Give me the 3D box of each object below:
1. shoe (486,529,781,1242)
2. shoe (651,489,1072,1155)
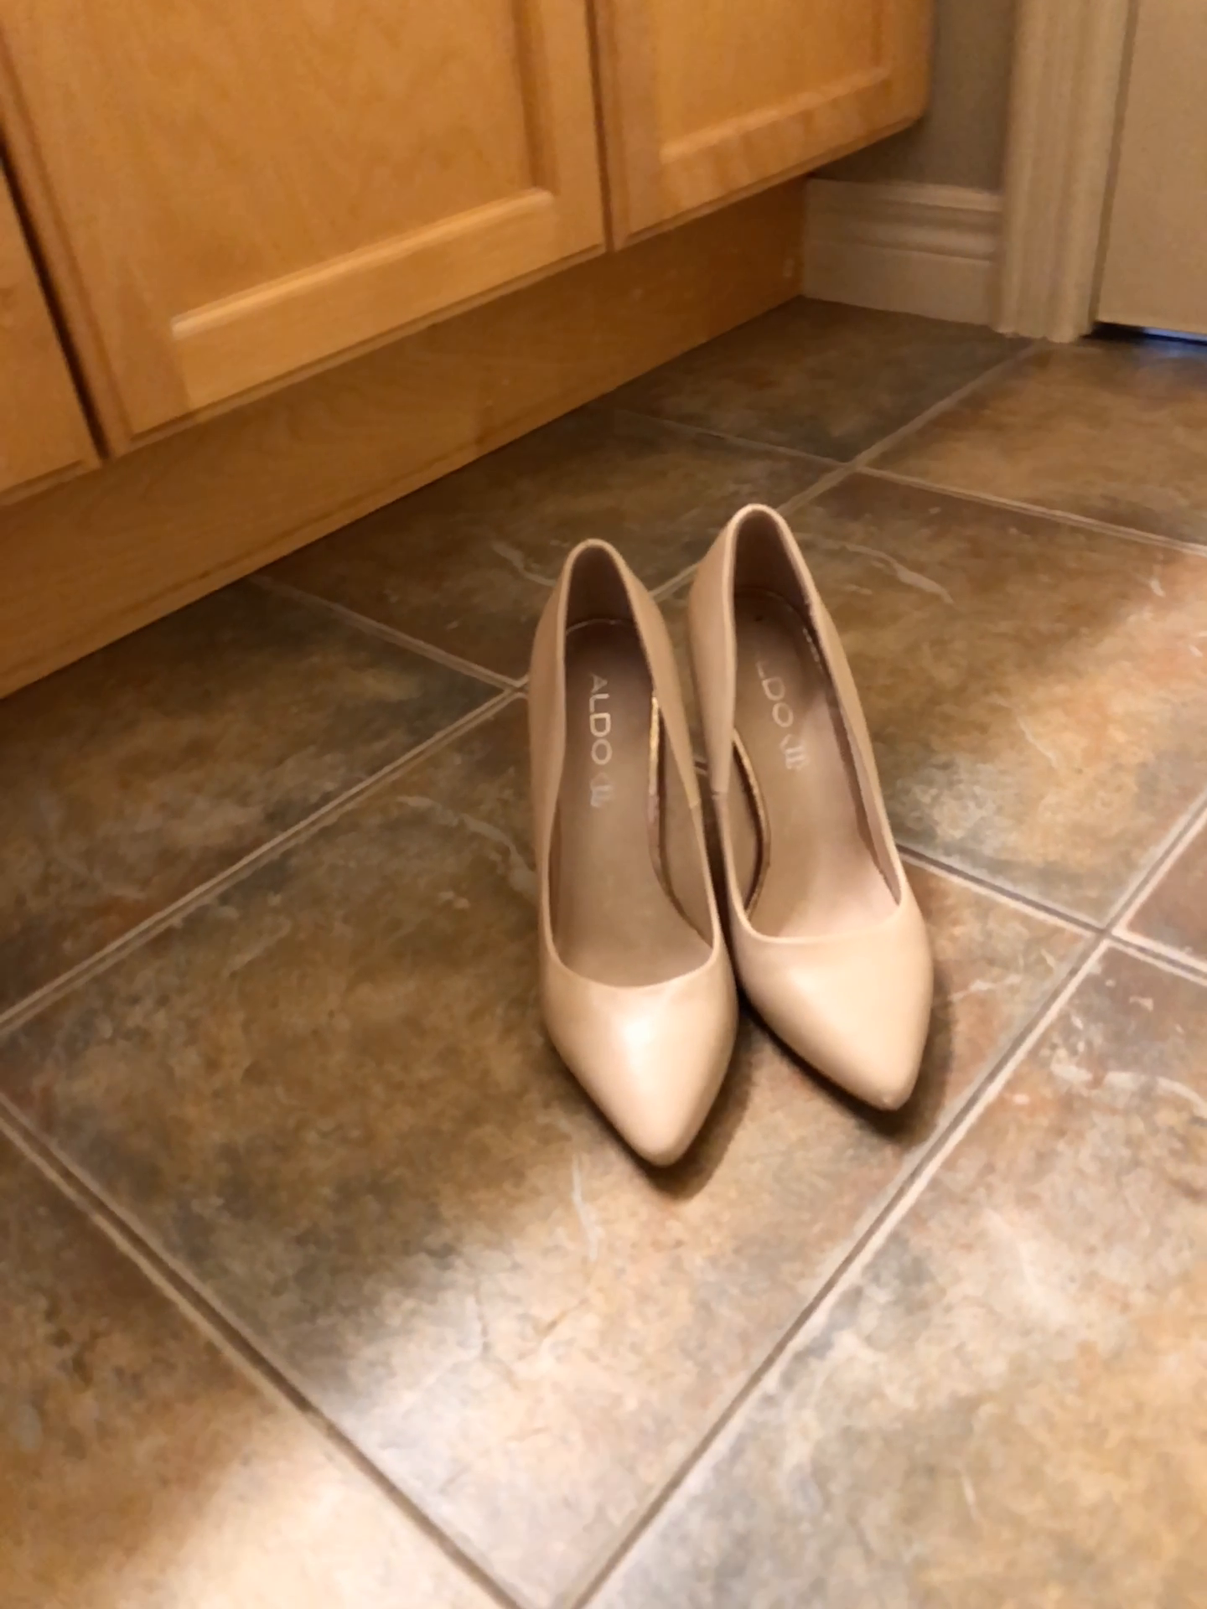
[{"bbox_3d":[0.011,0.018,0.499,0.080,0.149,0.231,-5,36,2],"label":"shoe"},{"bbox_3d":[0.081,-0.008,0.500,0.080,0.129,0.231,-9,37,-4],"label":"shoe"}]
